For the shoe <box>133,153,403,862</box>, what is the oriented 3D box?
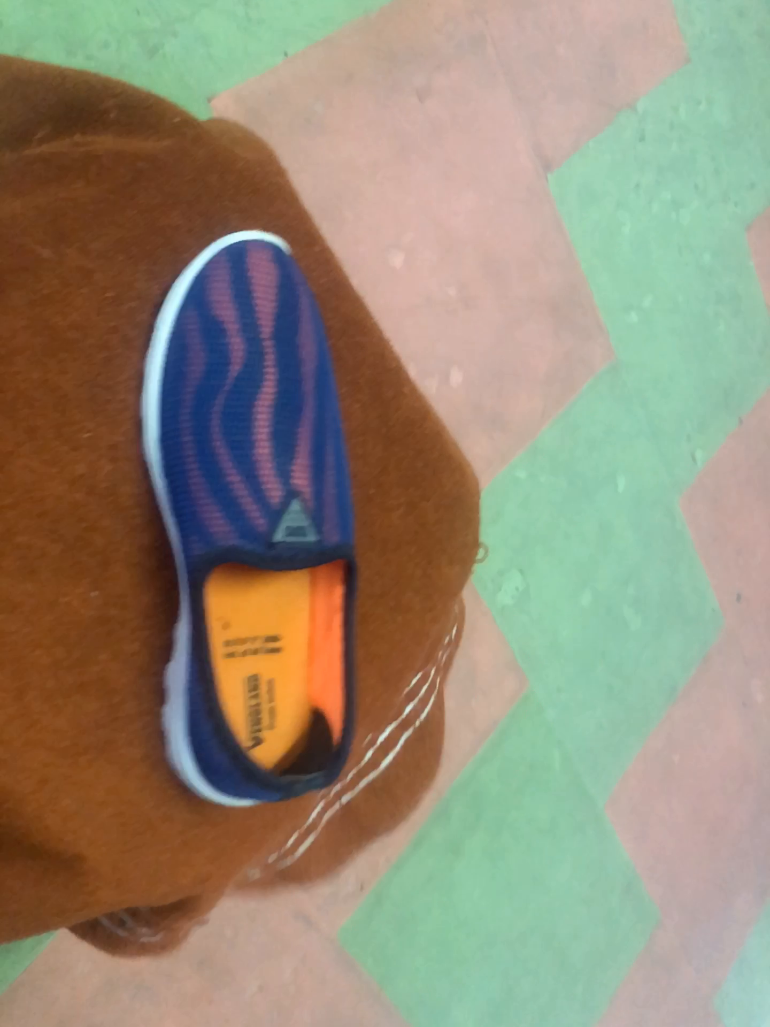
[{"bbox_3d":[-0.051,-0.002,0.366,0.091,0.070,0.260,-2,94,-39],"label":"shoe"}]
